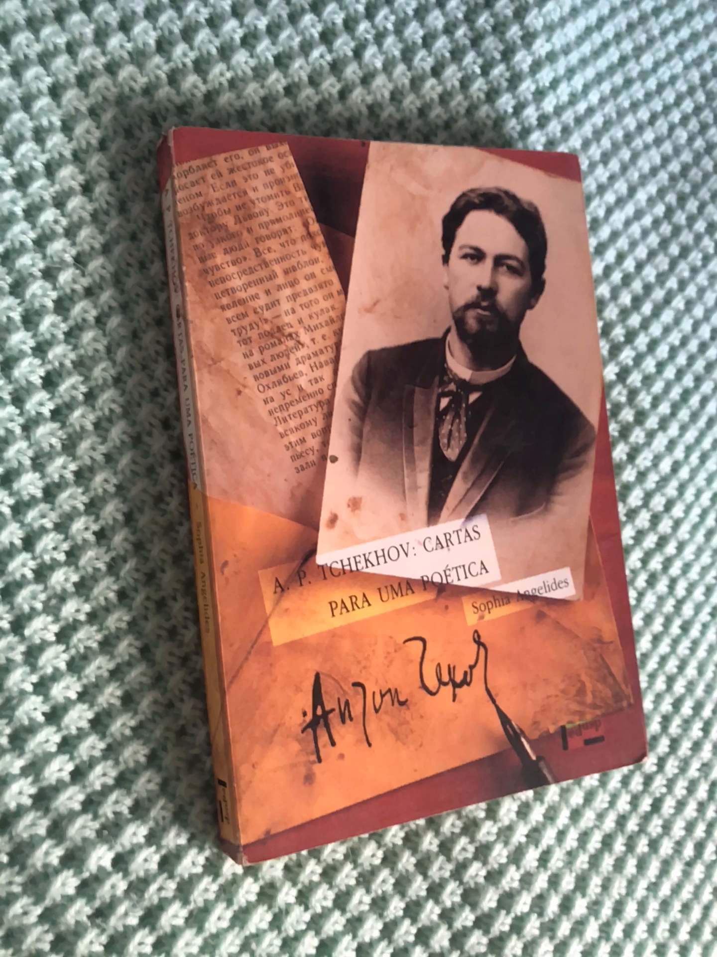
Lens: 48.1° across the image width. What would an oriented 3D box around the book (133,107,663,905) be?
[{"bbox_3d":[0.018,0.000,0.257,0.150,0.030,0.210,-6,88,-26],"label":"book"}]
